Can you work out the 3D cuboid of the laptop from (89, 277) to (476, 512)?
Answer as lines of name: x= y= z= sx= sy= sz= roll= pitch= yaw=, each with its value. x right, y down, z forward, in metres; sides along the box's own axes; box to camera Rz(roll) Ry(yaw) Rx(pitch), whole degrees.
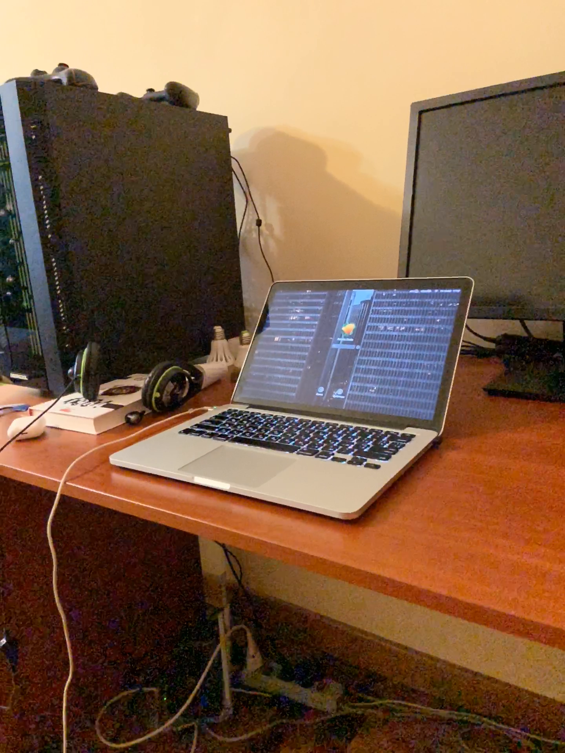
laptop: x=0.024 y=-0.017 z=0.676 sx=0.300 sy=0.155 sz=0.341 roll=5 pitch=17 yaw=33
